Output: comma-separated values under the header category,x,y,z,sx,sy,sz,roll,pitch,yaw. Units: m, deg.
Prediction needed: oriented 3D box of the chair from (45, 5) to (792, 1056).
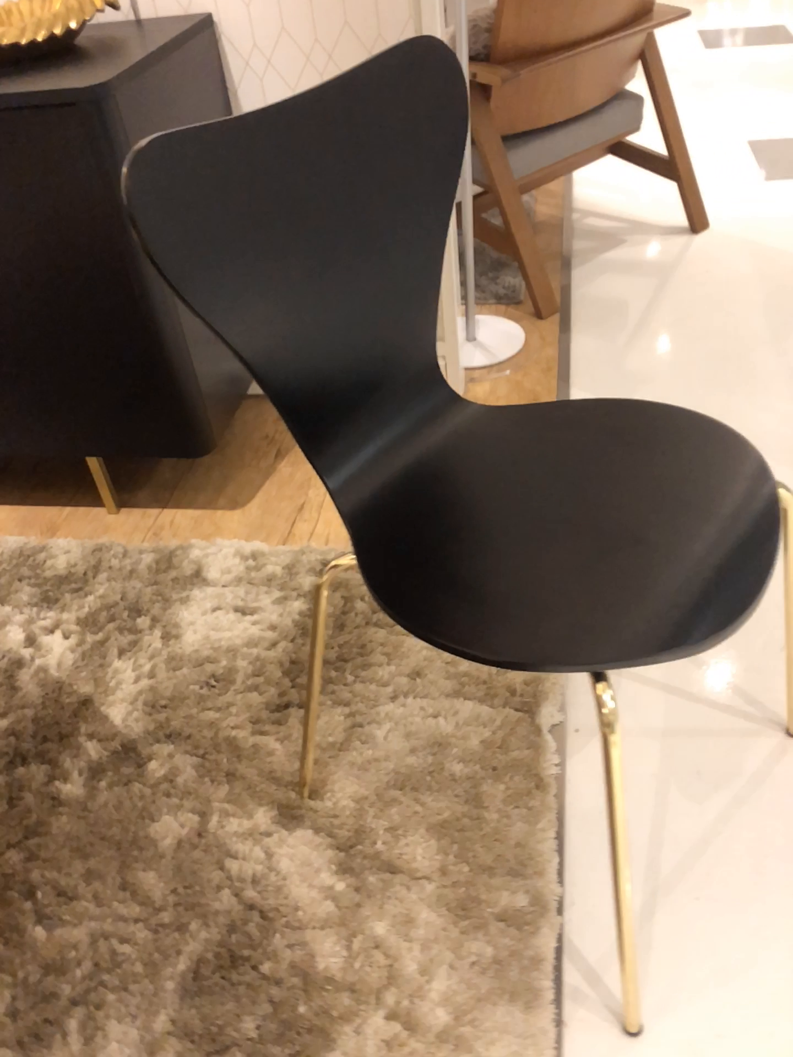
category,x,y,z,sx,sy,sz,roll,pitch,yaw
chair,0.147,-0.019,0.846,0.501,0.755,0.502,23,48,32
